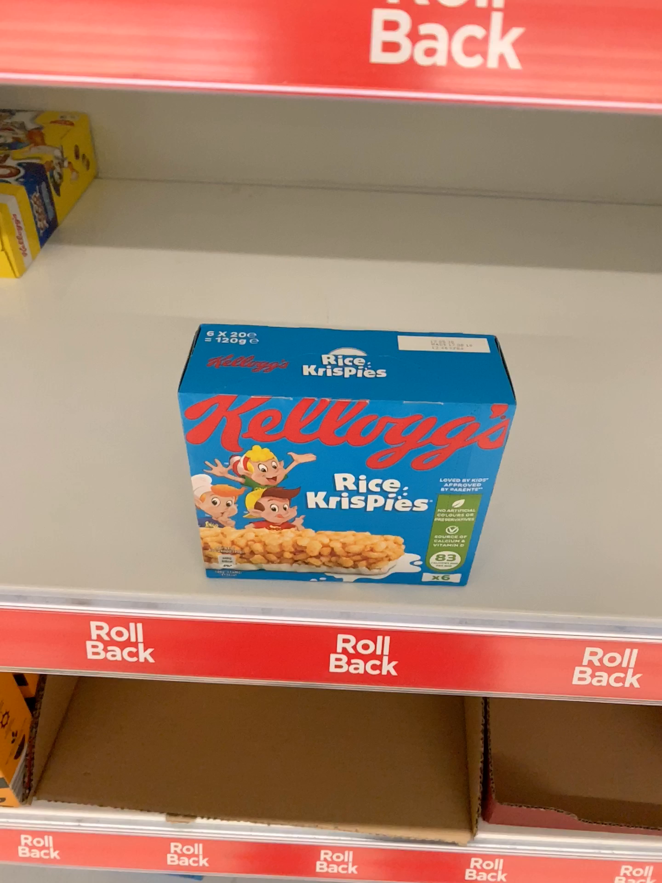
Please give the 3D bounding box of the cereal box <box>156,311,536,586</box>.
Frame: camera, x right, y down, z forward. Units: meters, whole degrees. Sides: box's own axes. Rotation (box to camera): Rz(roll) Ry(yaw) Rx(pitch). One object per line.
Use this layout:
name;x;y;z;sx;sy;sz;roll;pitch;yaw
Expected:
cereal box;0.004;0.009;0.331;0.150;0.129;0.050;2;43;-1
